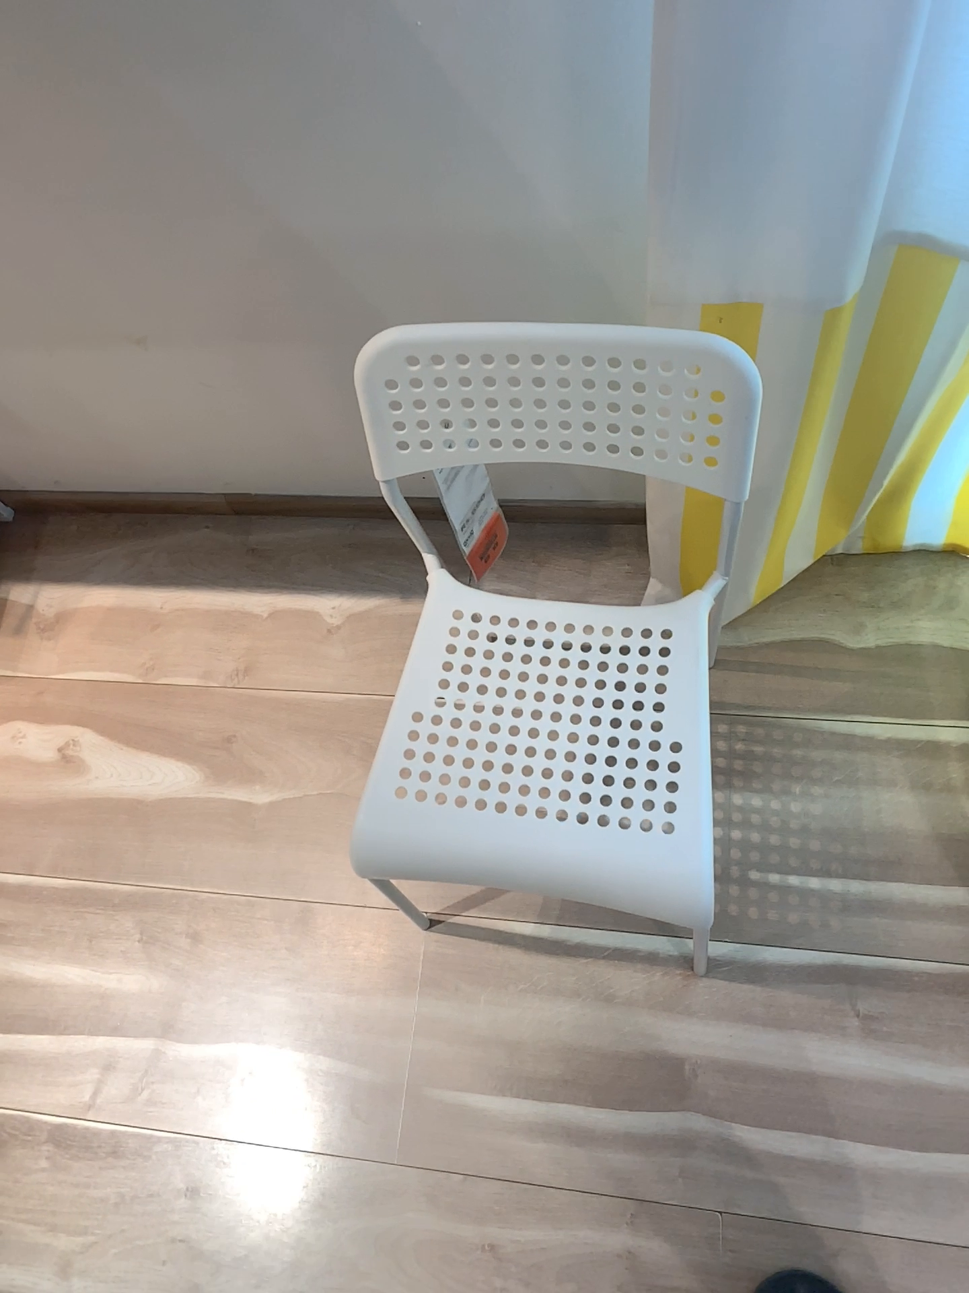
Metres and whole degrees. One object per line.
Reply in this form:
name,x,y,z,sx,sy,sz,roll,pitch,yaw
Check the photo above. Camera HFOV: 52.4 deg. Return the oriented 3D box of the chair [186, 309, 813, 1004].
chair,0.082,0.067,1.091,0.440,0.659,0.530,4,68,12
